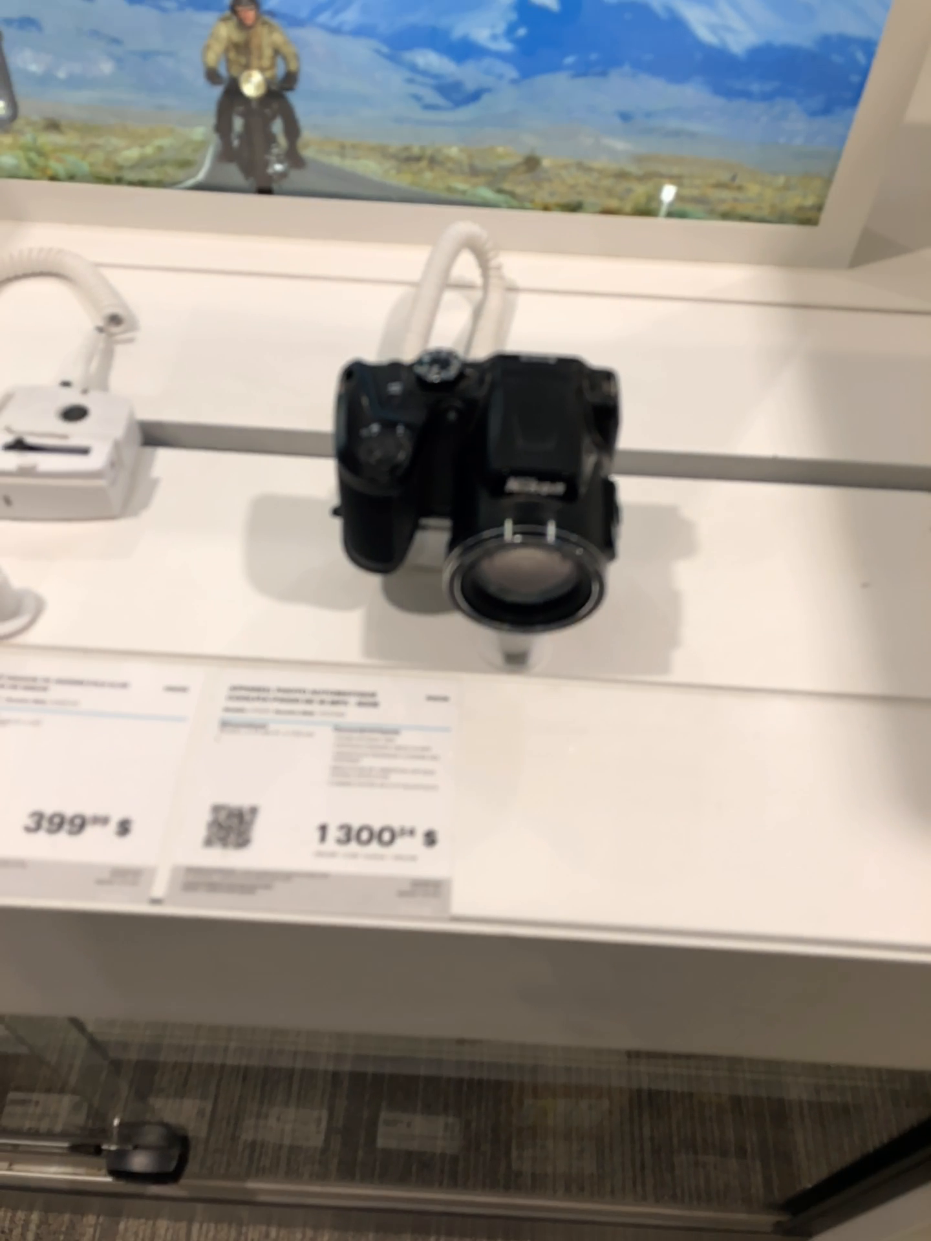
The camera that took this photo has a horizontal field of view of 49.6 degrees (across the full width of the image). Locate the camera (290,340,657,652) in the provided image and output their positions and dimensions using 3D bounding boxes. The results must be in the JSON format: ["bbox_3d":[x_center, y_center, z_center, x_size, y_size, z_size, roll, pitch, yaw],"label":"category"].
[{"bbox_3d":[0.002,-0.047,0.377,0.117,0.067,0.092,2,51,-1],"label":"camera"}]
